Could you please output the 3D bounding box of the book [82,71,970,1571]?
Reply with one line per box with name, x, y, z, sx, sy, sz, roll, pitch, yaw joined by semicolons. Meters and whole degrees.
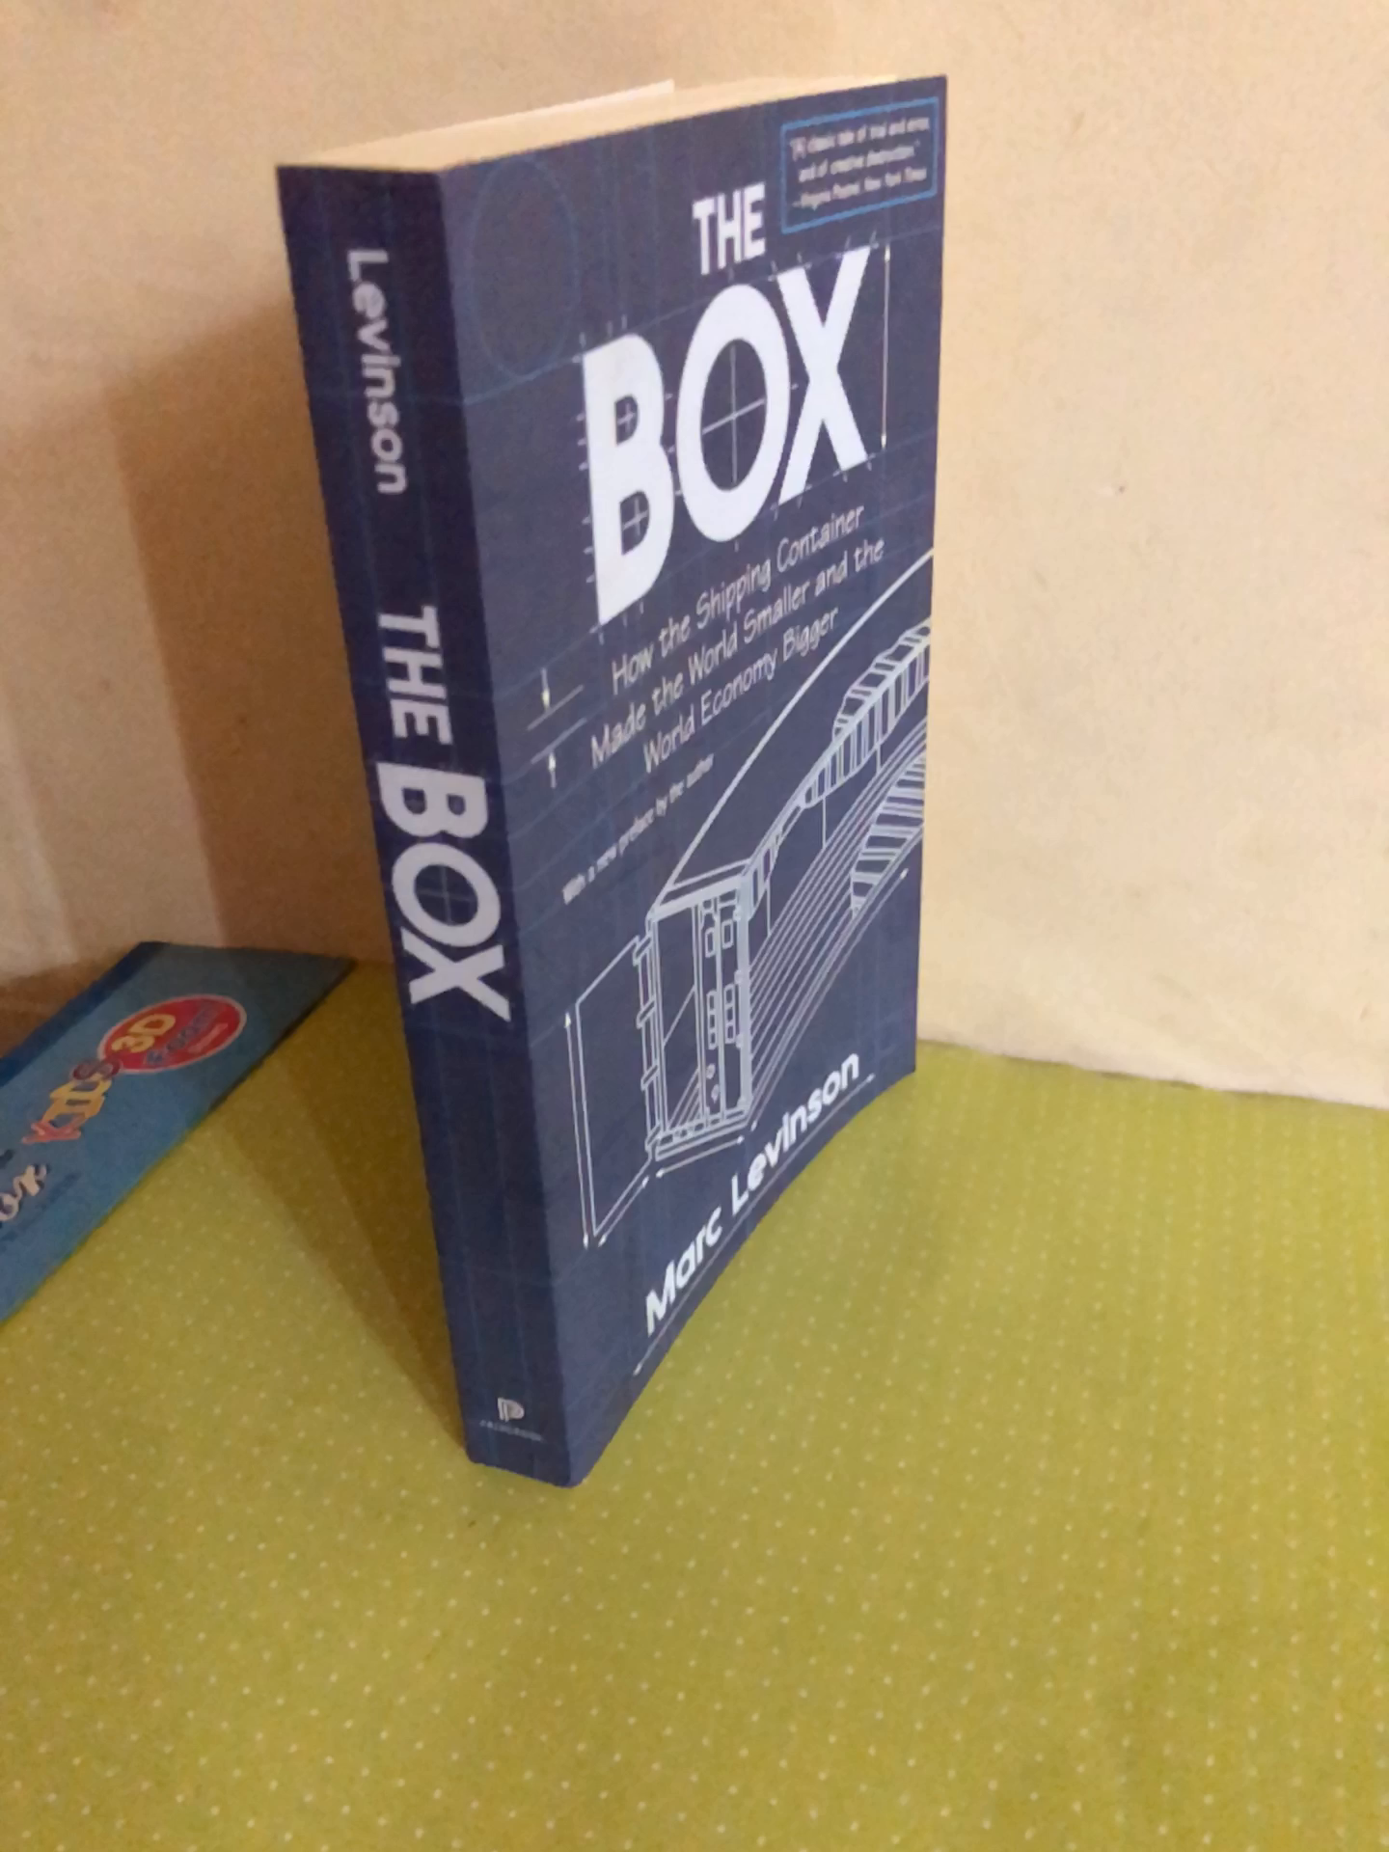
book;-0.005;-0.032;0.290;0.050;0.219;0.181;12;33;22
